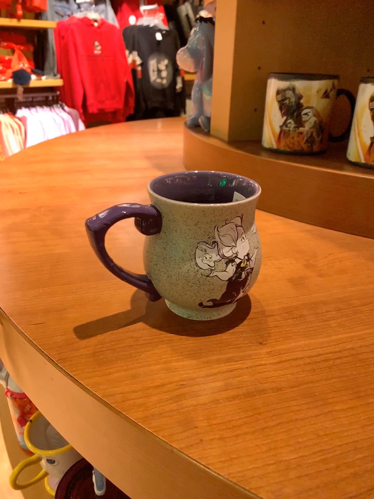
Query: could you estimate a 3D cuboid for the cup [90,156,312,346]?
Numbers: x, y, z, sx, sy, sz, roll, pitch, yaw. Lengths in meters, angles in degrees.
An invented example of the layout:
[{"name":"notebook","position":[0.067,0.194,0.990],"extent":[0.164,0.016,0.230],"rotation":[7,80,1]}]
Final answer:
[{"name":"cup","position":[0.004,-0.011,0.328],"extent":[0.140,0.099,0.115],"rotation":[-10,28,-22]}]
